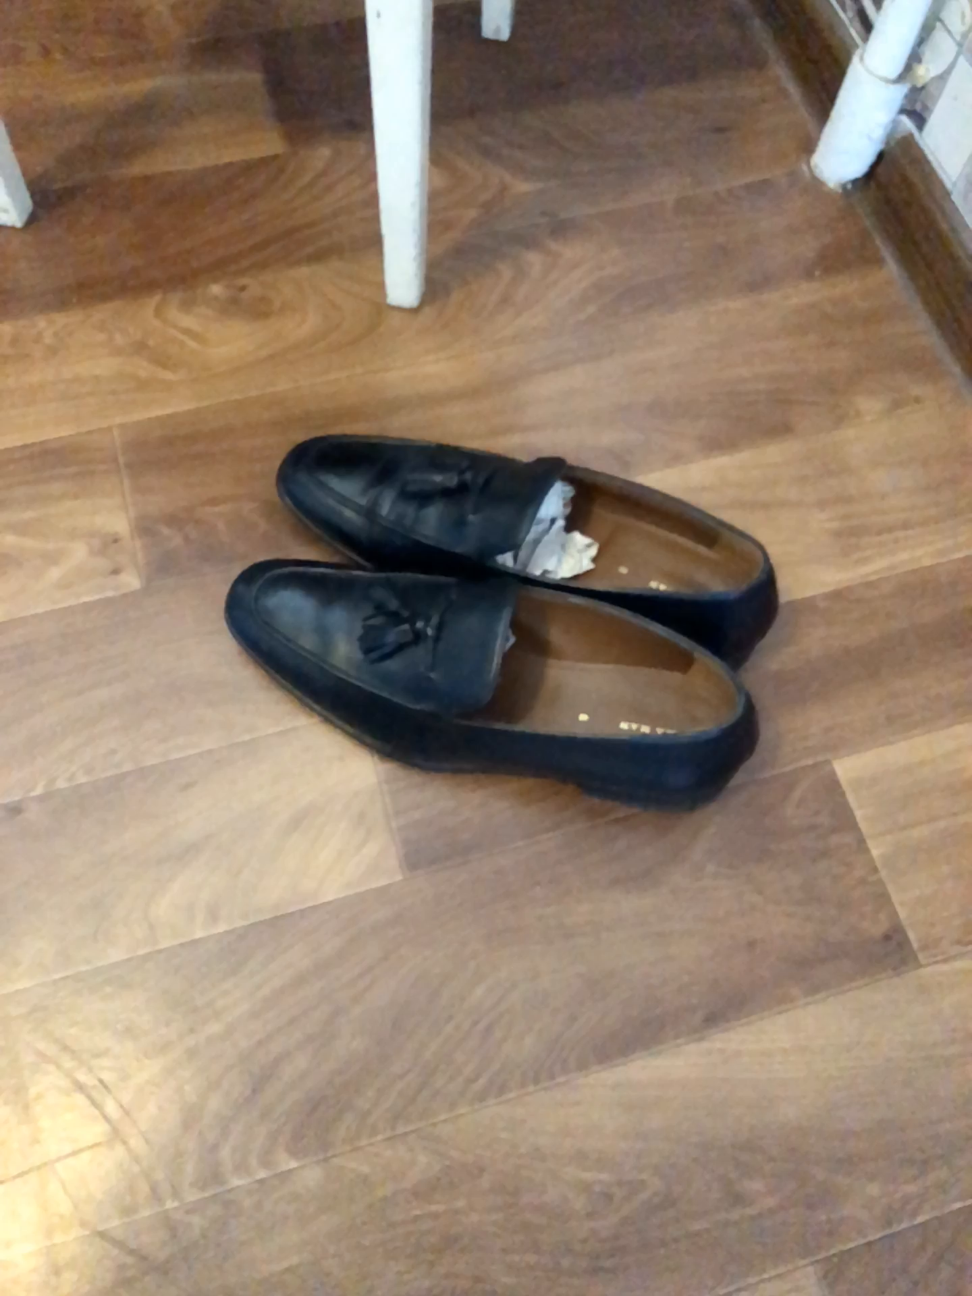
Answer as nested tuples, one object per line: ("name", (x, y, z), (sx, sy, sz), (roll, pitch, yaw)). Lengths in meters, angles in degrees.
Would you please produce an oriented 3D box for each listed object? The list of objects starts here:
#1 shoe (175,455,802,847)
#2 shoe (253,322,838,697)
("shoe", (0.003, 0.002, 0.494), (0.253, 0.068, 0.100), (15, 67, 5))
("shoe", (0.029, -0.068, 0.526), (0.253, 0.068, 0.100), (16, 67, 5))
